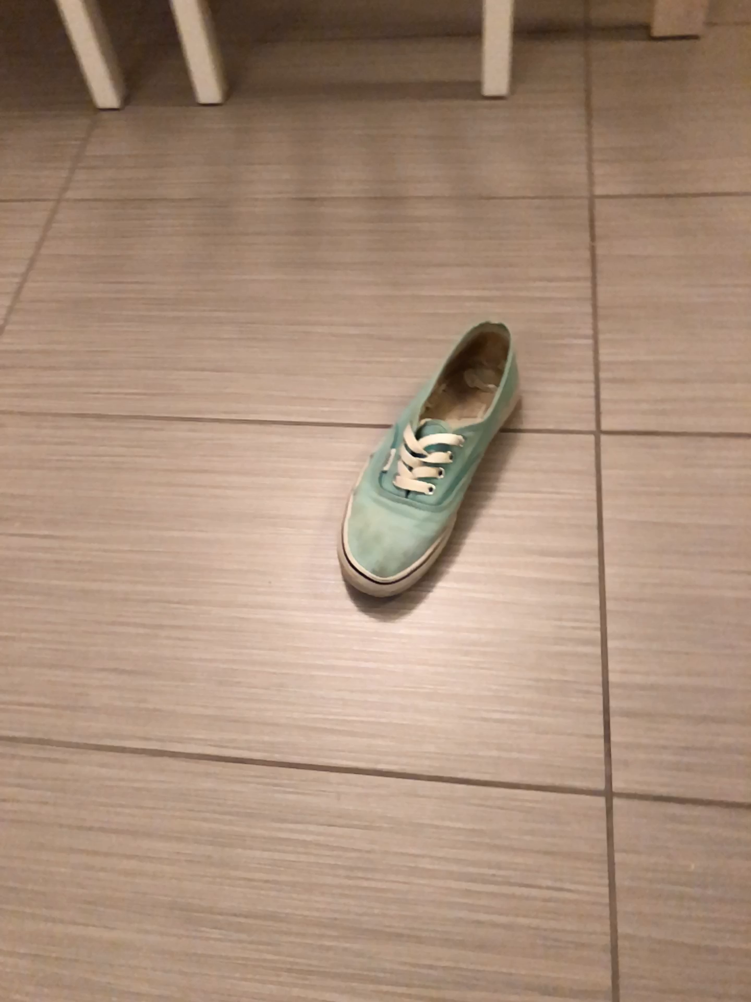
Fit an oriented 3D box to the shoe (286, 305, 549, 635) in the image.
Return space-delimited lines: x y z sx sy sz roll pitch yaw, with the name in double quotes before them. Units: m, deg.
"shoe" 0.043 -0.033 0.682 0.090 0.080 0.261 25 65 21
